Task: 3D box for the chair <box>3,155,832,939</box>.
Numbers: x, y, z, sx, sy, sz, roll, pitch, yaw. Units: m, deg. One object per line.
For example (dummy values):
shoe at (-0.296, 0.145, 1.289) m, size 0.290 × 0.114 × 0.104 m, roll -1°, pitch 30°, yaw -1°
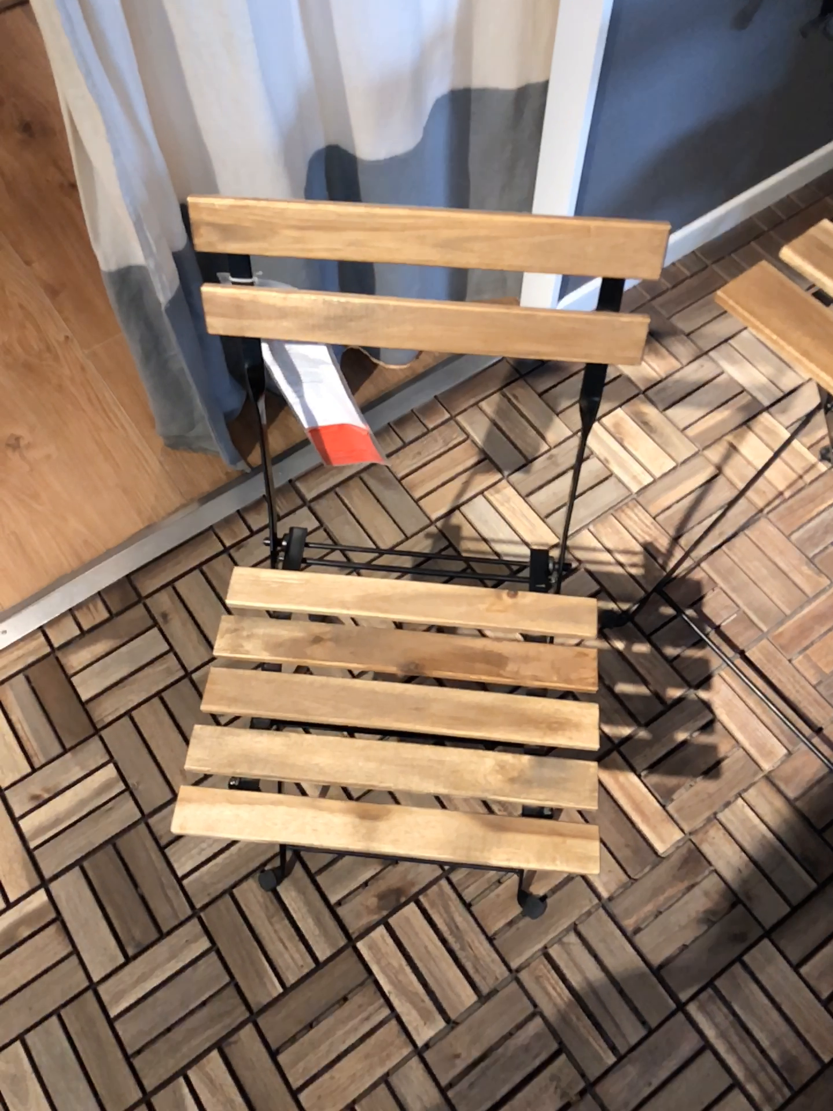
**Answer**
chair at (0.029, 0.083, 0.879) m, size 0.430 × 0.727 × 0.432 m, roll 6°, pitch 63°, yaw 4°
